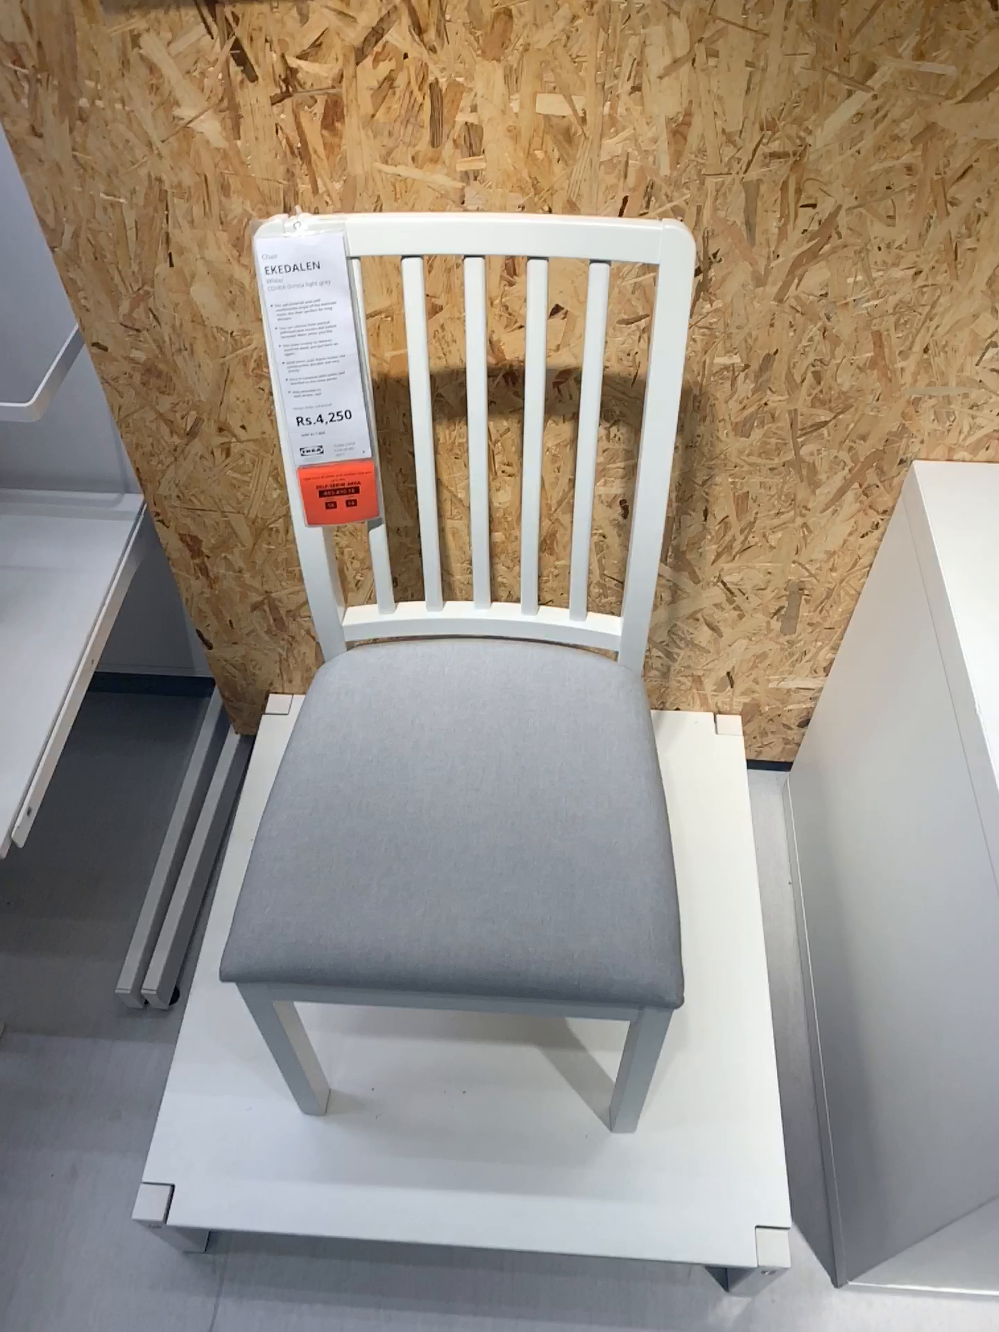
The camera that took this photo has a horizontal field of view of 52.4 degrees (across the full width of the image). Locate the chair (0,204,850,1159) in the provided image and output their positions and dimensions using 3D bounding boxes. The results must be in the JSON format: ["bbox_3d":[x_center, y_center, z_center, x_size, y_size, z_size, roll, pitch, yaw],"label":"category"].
[{"bbox_3d":[-0.022,0.116,1.054,0.450,0.957,0.492,3,52,3],"label":"chair"}]
